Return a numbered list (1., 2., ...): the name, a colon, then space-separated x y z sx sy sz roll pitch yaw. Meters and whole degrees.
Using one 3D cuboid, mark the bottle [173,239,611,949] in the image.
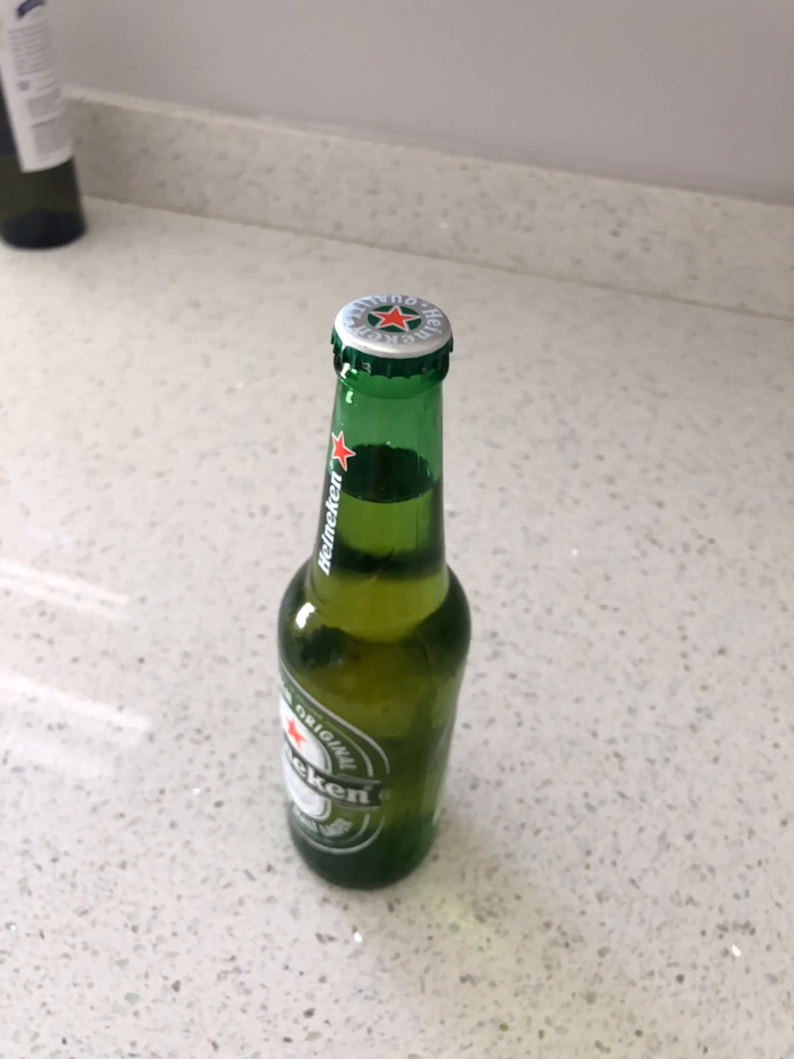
1. bottle: -0.006 0.033 0.270 0.070 0.209 0.070 2 43 -1
